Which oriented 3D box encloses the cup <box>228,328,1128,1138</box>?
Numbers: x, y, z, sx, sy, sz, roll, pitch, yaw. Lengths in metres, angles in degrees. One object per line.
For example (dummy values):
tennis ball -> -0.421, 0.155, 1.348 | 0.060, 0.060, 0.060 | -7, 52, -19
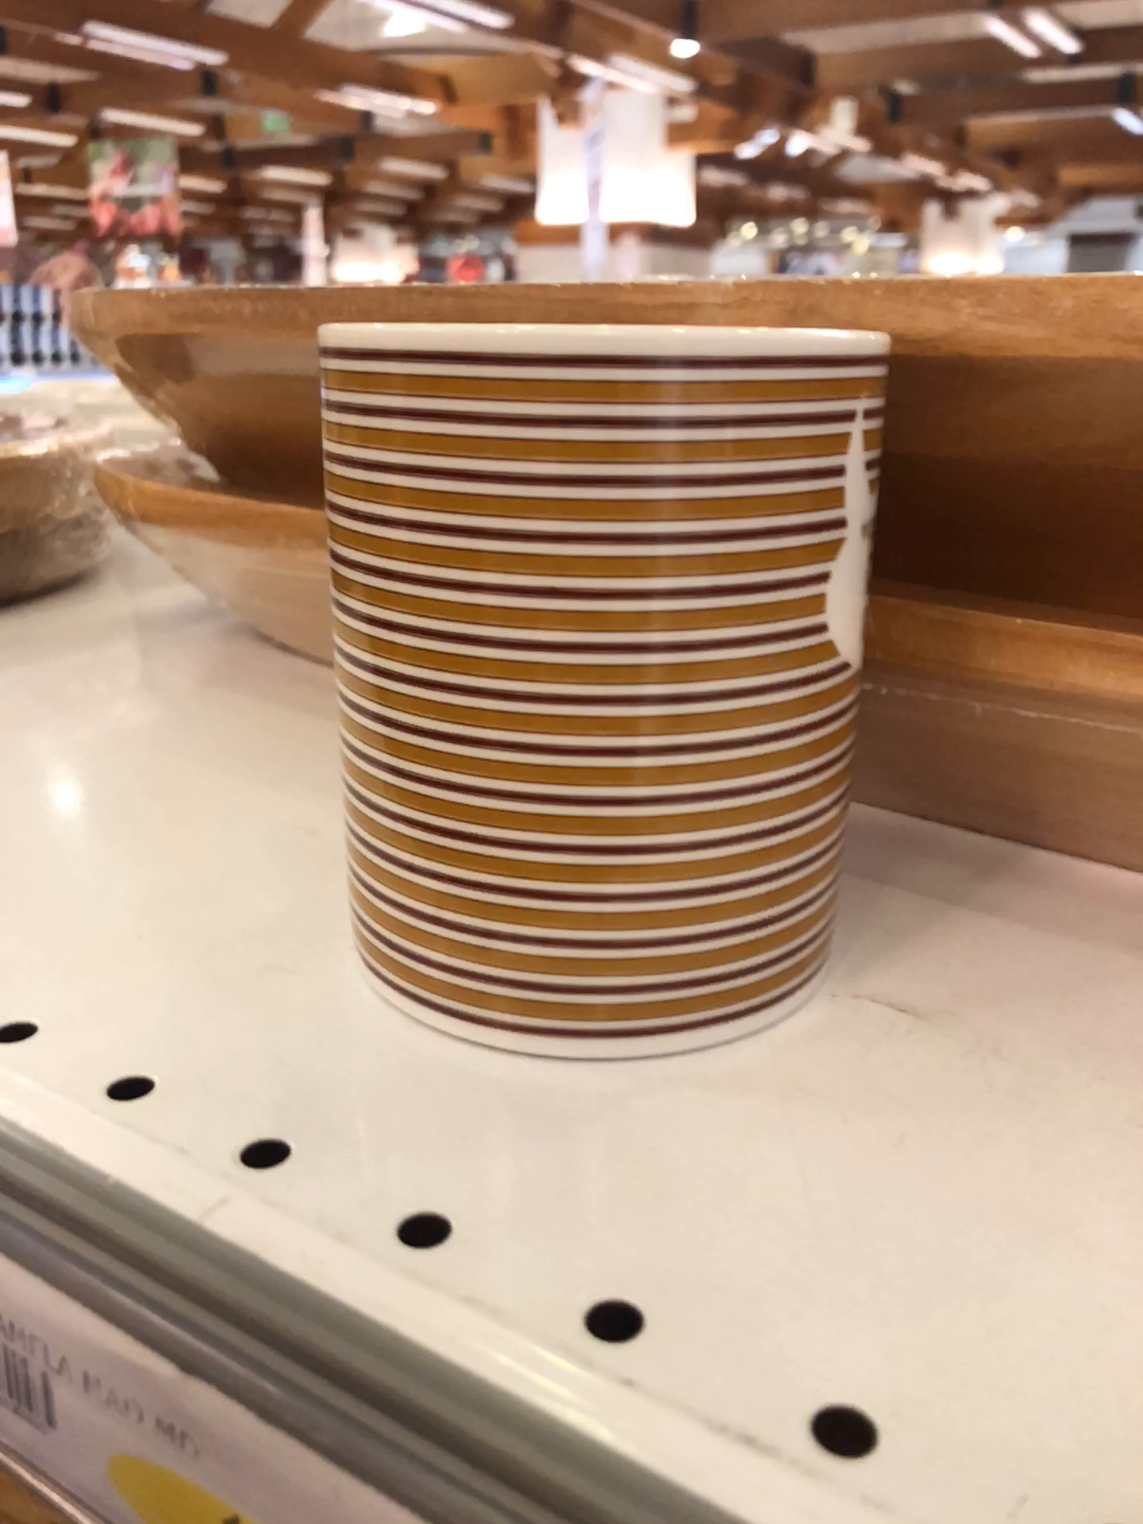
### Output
cup -> 0.003, -0.022, 0.205 | 0.090, 0.089, 0.121 | -7, 20, -21
